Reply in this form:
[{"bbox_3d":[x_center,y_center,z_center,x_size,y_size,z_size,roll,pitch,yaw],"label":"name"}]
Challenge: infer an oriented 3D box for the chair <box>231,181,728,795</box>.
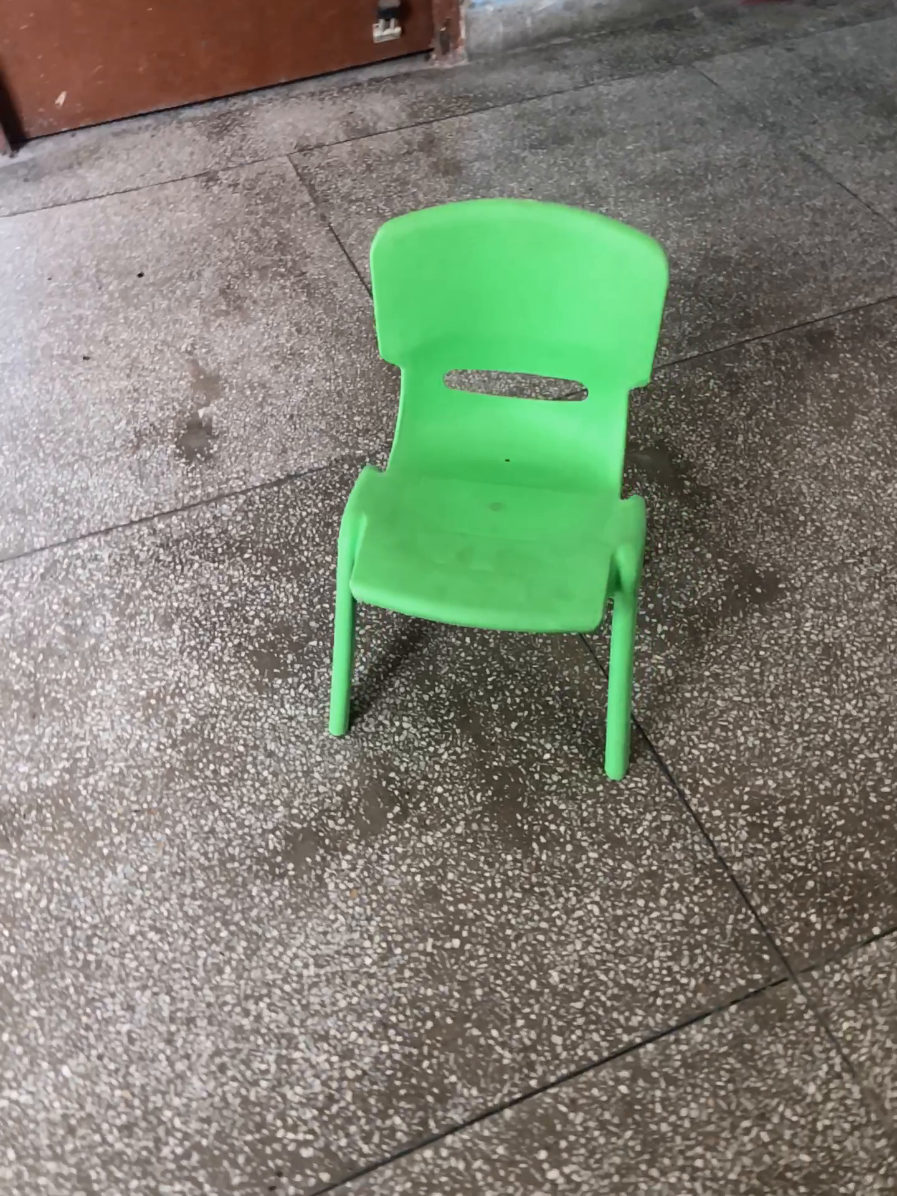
[{"bbox_3d":[0.057,-0.103,1.032,0.370,0.459,0.391,7,52,8],"label":"chair"}]
